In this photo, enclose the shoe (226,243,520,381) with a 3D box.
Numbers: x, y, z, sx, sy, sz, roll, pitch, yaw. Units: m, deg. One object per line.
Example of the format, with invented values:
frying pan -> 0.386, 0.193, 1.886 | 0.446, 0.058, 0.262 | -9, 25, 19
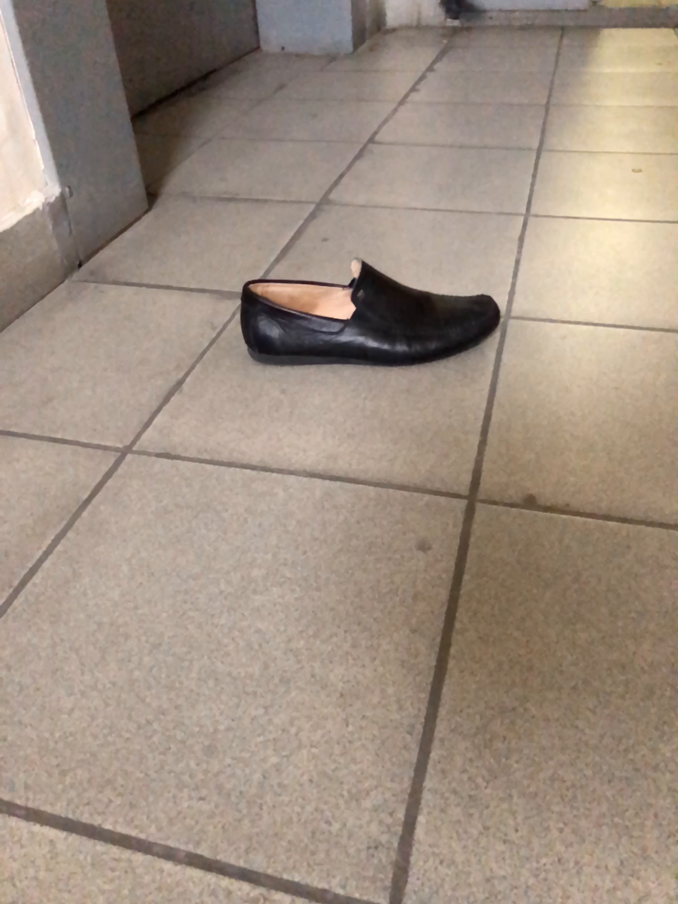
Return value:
shoe -> 0.032, -0.143, 0.749 | 0.270, 0.079, 0.108 | -3, 38, 1
